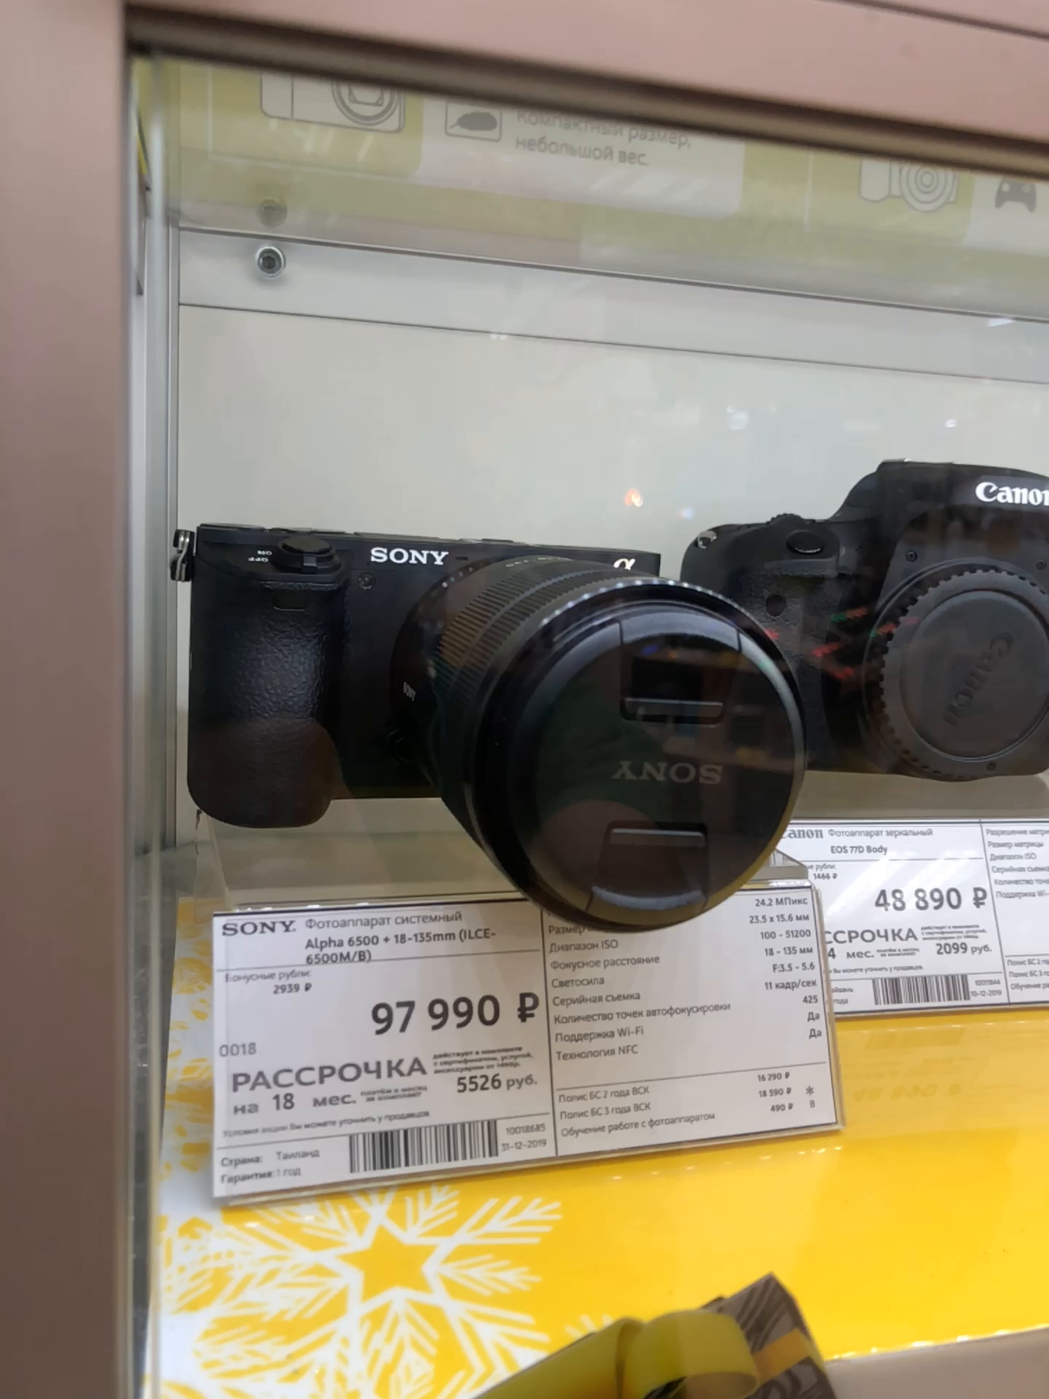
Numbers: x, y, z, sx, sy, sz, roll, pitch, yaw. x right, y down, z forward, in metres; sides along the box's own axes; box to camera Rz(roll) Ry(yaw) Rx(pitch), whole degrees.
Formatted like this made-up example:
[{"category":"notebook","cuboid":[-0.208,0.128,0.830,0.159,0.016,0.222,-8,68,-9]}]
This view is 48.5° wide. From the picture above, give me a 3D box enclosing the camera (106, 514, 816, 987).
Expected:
[{"category":"camera","cuboid":[-0.022,0.001,0.276,0.130,0.080,0.123,1,10,-13]}]
